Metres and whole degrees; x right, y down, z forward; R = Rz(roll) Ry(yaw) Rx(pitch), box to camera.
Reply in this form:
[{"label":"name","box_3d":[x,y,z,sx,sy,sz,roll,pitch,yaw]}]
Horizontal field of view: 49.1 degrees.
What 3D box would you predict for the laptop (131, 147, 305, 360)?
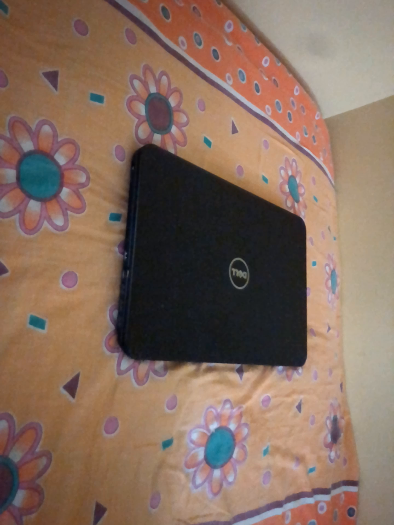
[{"label":"laptop","box_3d":[0.060,0.013,0.618,0.360,0.001,0.236,15,75,-44]}]
